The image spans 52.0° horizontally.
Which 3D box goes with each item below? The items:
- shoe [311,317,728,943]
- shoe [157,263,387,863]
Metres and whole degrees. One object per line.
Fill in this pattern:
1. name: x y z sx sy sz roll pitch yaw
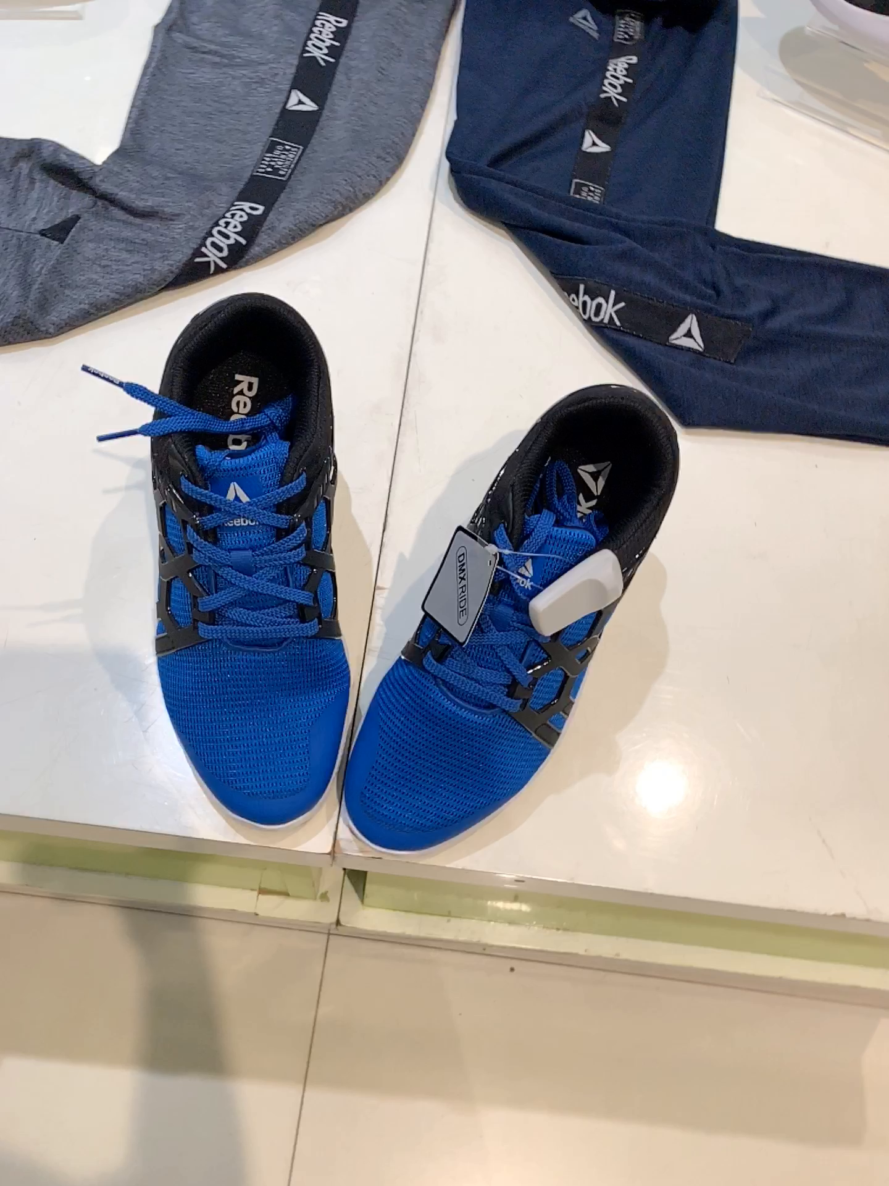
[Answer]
1. shoe: 0.033 0.020 0.470 0.100 0.080 0.289 22 106 6
2. shoe: -0.092 -0.017 0.483 0.100 0.100 0.280 -3 99 -16
